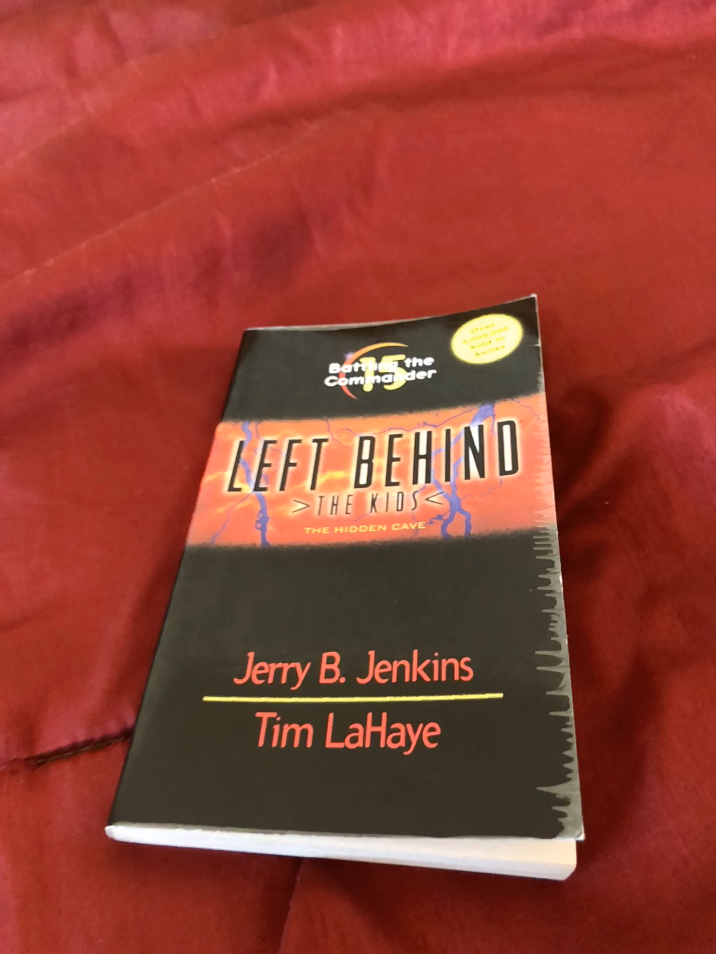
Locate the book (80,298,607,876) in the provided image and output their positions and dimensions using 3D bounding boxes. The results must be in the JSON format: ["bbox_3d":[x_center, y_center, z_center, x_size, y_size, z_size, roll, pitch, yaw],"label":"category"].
[{"bbox_3d":[0.004,0.015,0.229,0.110,0.026,0.171,-1,50,9],"label":"book"}]
